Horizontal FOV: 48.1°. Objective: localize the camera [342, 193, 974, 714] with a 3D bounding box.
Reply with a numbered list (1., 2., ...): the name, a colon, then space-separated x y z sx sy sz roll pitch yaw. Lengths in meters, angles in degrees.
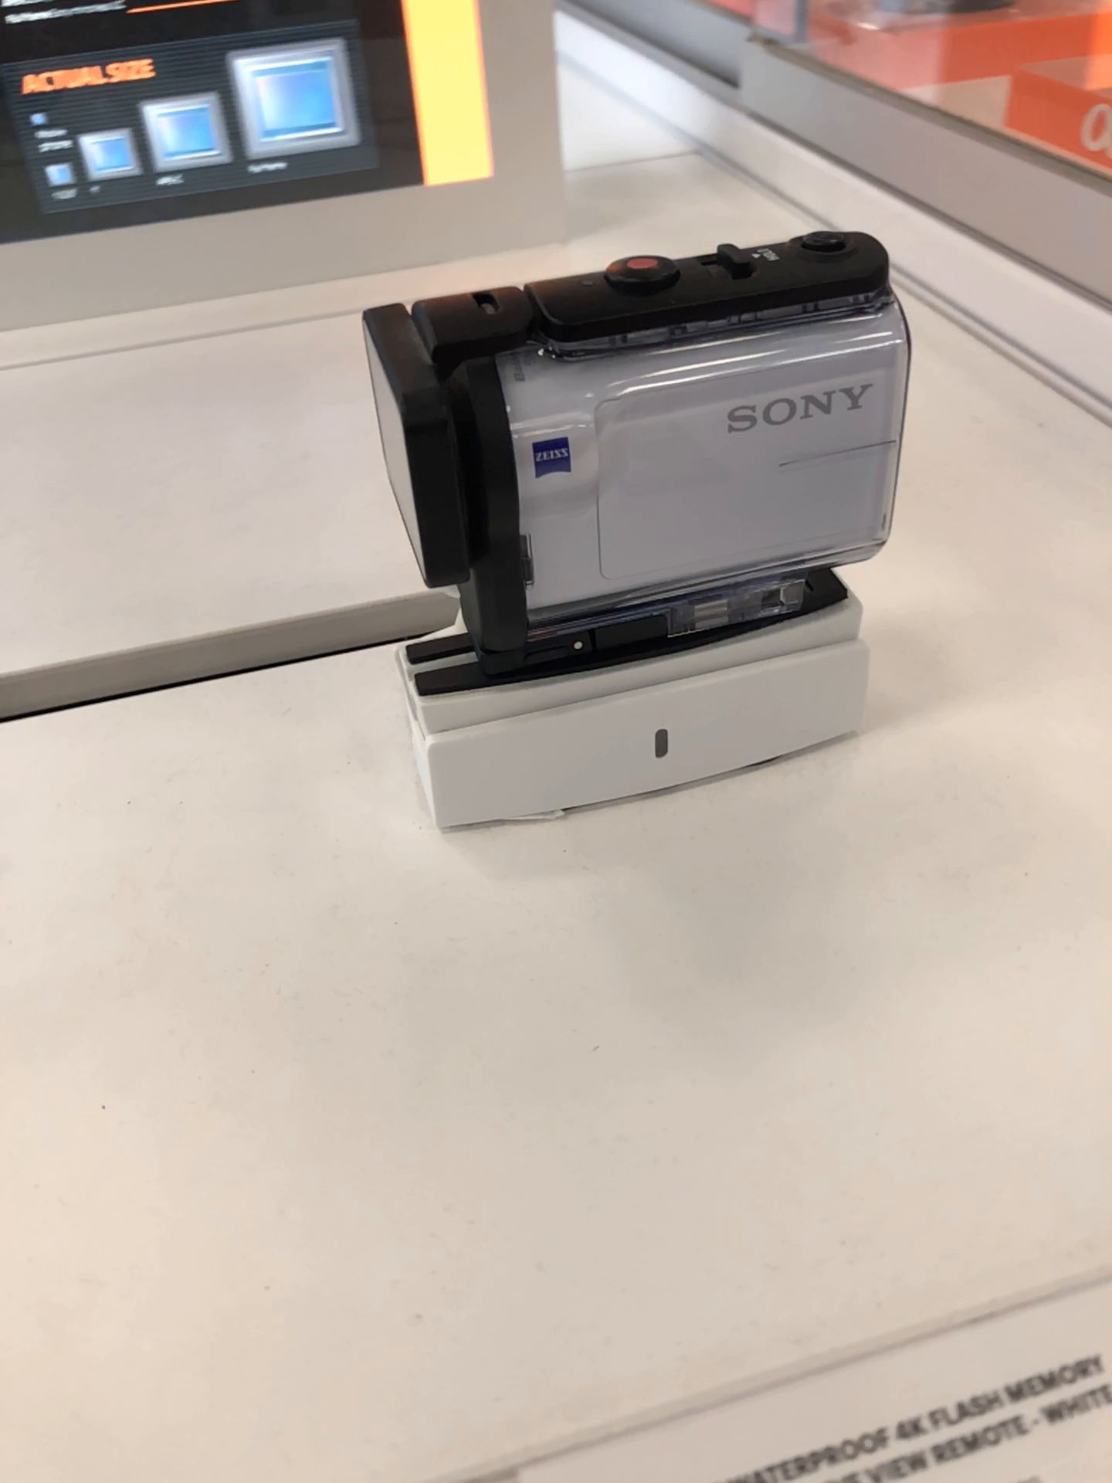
1. camera: 0.015 -0.052 0.219 0.090 0.060 0.050 -13 39 -10
